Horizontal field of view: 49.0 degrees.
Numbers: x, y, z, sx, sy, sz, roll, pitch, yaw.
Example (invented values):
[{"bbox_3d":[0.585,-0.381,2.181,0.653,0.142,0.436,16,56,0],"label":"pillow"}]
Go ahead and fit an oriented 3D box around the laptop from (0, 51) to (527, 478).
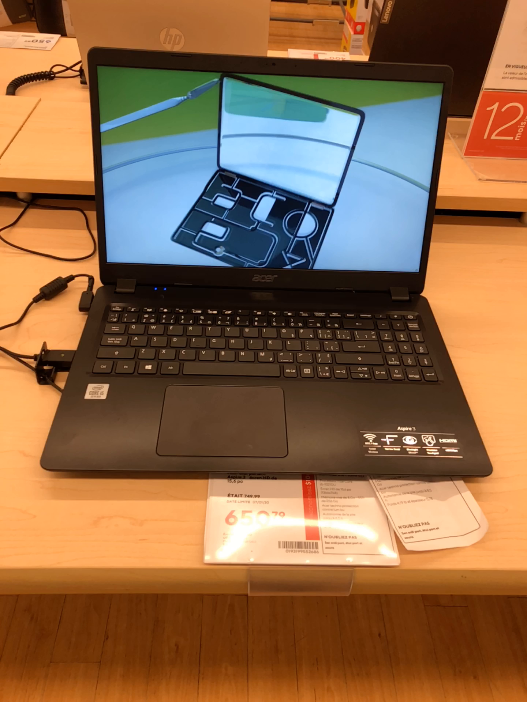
[{"bbox_3d":[0.009,-0.092,0.510,0.354,0.210,0.329,2,42,-3],"label":"laptop"}]
